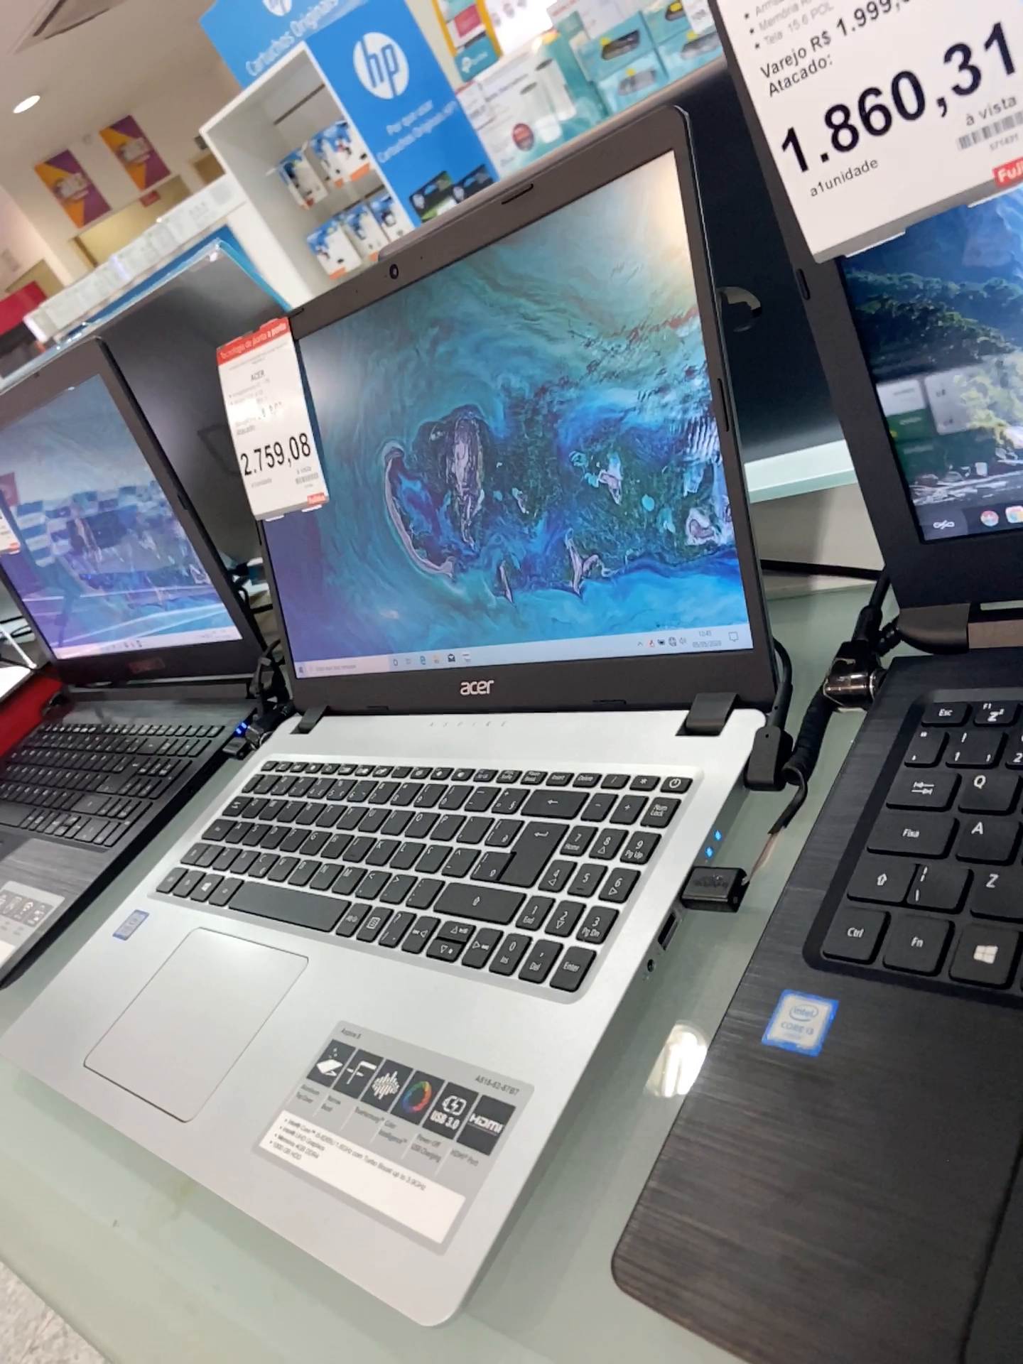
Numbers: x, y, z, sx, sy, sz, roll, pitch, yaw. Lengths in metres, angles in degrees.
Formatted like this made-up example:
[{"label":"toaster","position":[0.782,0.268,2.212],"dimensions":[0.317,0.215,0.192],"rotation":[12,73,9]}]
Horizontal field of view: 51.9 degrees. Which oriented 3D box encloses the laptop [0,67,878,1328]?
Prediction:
[{"label":"laptop","position":[-0.099,-0.018,0.461],"dimensions":[0.351,0.198,0.363],"rotation":[-4,40,47]}]
